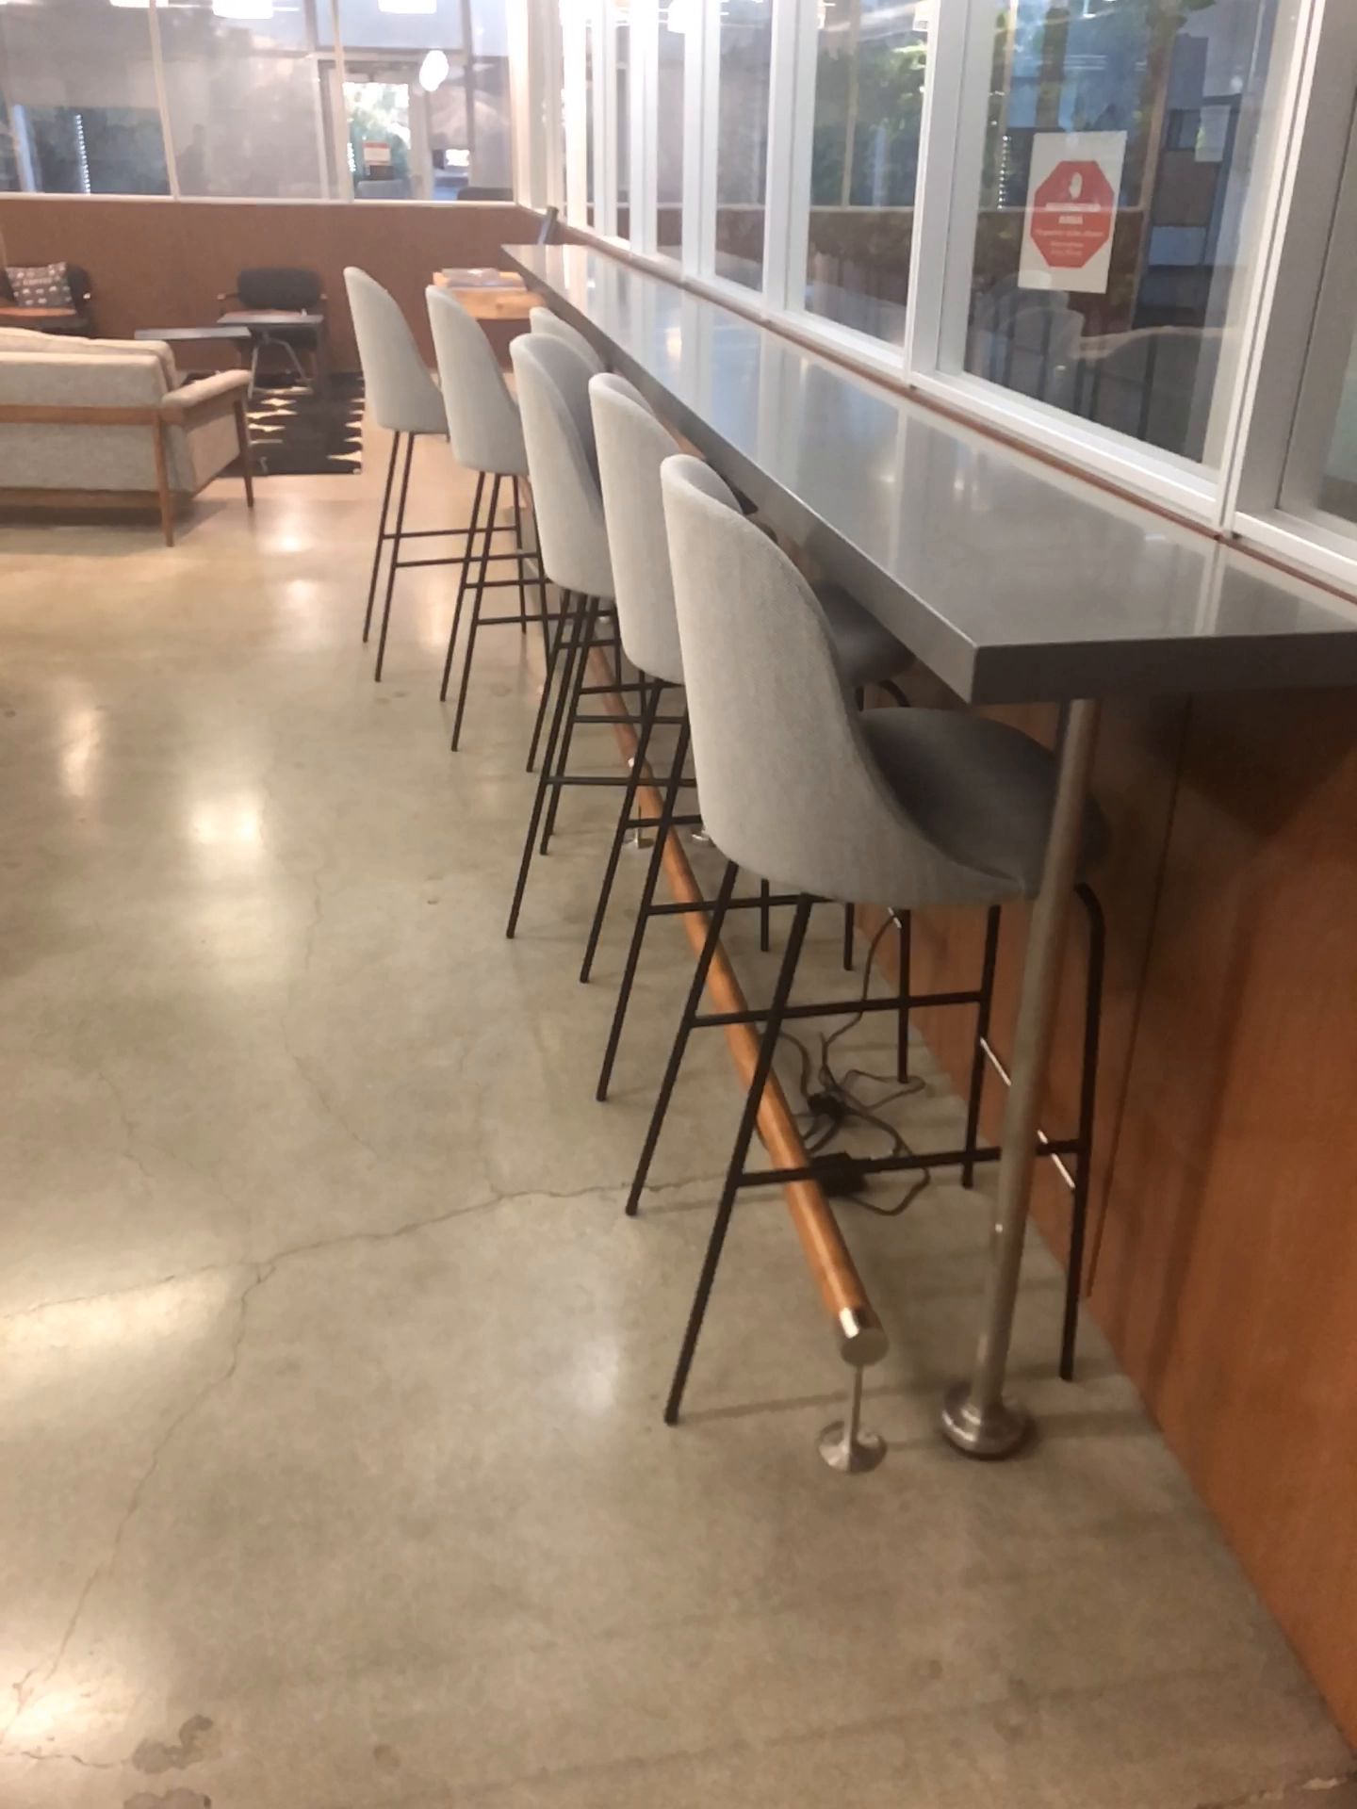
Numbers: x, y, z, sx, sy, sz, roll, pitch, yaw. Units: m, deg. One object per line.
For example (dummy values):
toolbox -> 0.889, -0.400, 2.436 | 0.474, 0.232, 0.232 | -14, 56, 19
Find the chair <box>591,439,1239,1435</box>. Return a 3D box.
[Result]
chair -> 0.198, 0.002, 1.840 | 0.531, 1.002, 0.665 | -3, 26, -8
